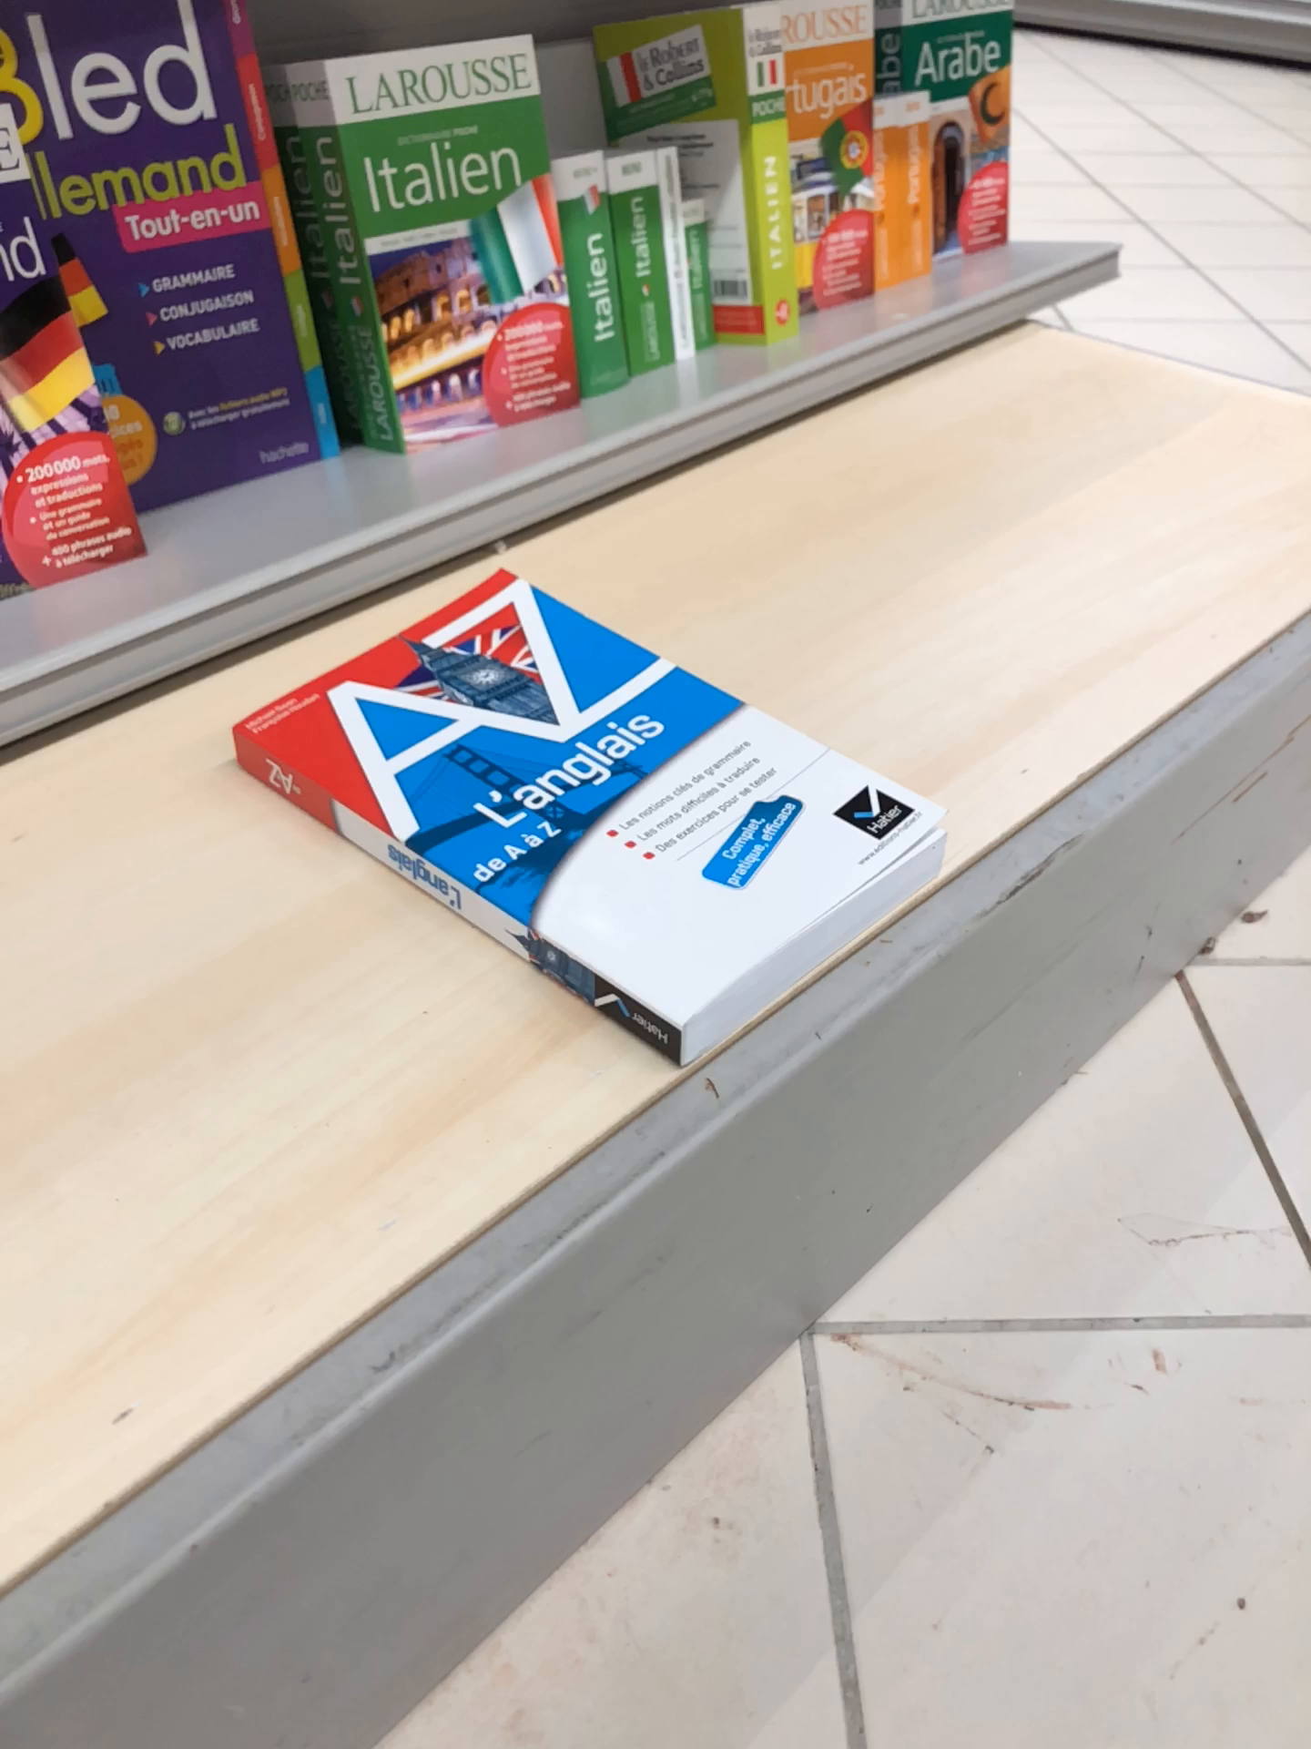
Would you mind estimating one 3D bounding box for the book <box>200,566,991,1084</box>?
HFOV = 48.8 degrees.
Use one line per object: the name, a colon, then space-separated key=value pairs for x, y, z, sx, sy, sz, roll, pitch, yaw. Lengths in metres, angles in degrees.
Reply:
book: x=-0.026 y=-0.034 z=0.498 sx=0.234 sy=0.030 sz=0.144 roll=30 pitch=45 yaw=32
